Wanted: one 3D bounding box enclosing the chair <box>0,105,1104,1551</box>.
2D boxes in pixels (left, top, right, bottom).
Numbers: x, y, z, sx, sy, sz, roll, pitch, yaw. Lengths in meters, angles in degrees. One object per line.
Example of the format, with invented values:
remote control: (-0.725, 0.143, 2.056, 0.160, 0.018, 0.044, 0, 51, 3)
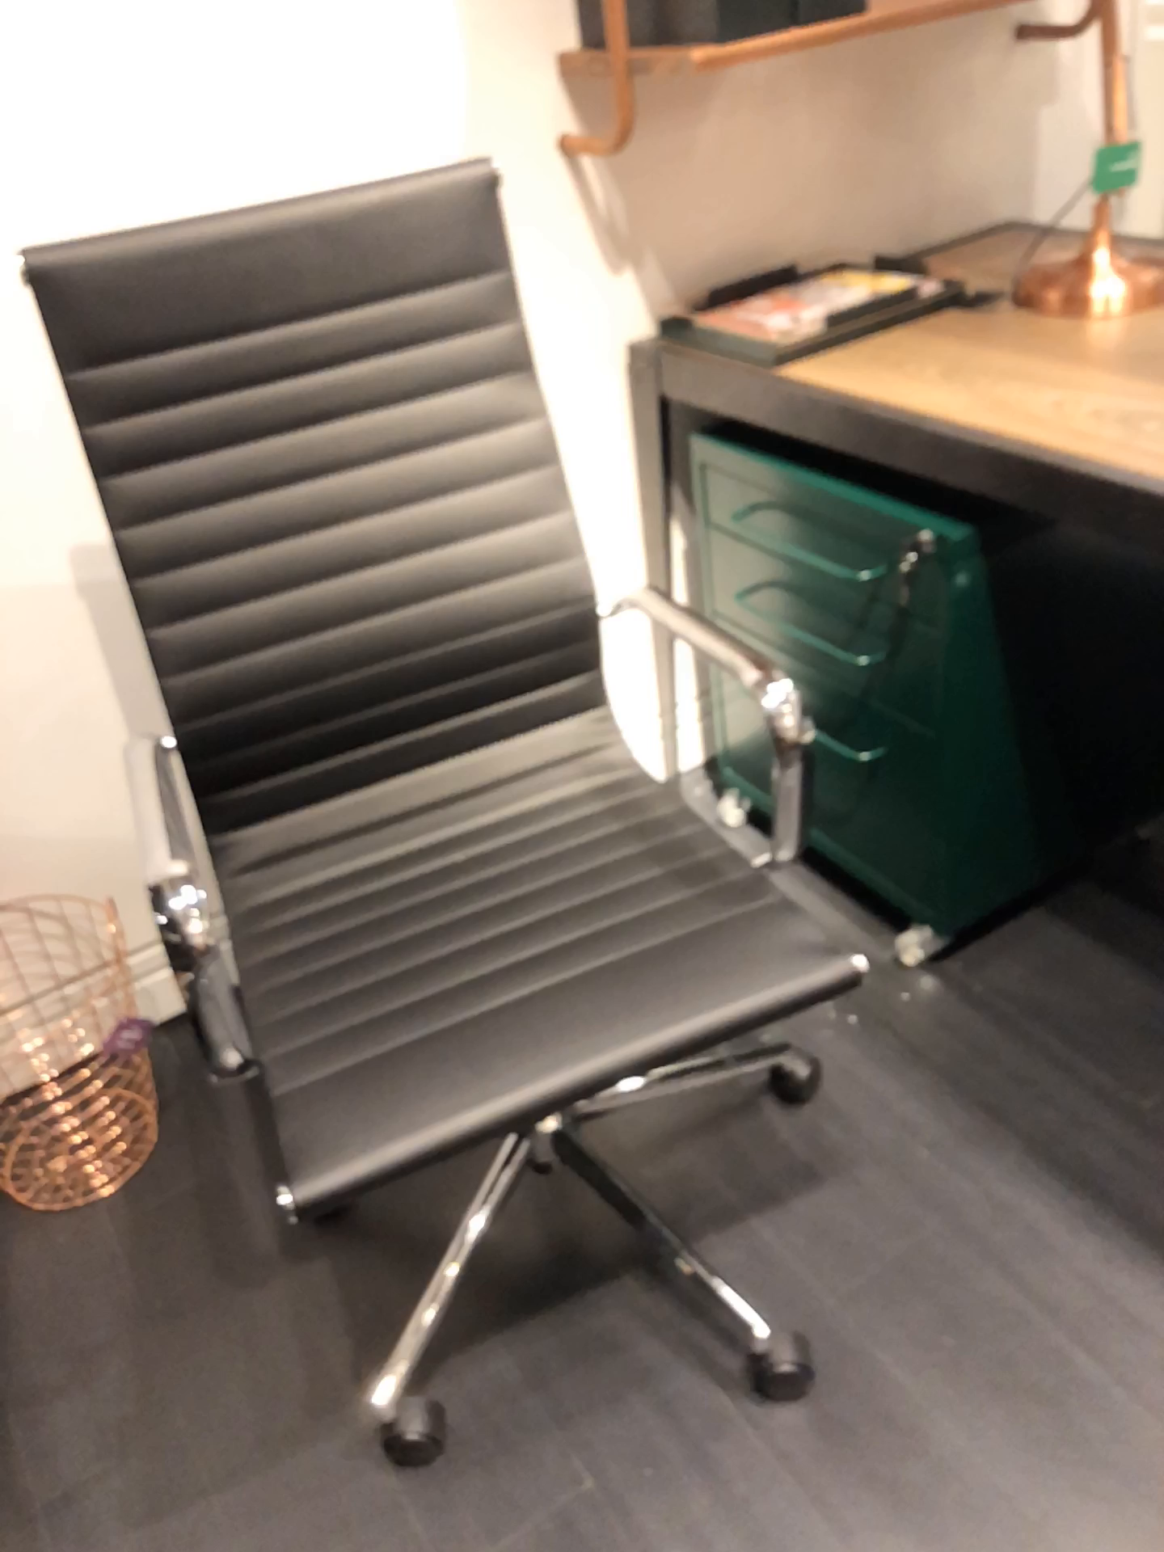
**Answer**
chair: (-0.066, 0.035, 1.212, 0.681, 1.052, 0.664, -19, 34, -16)
